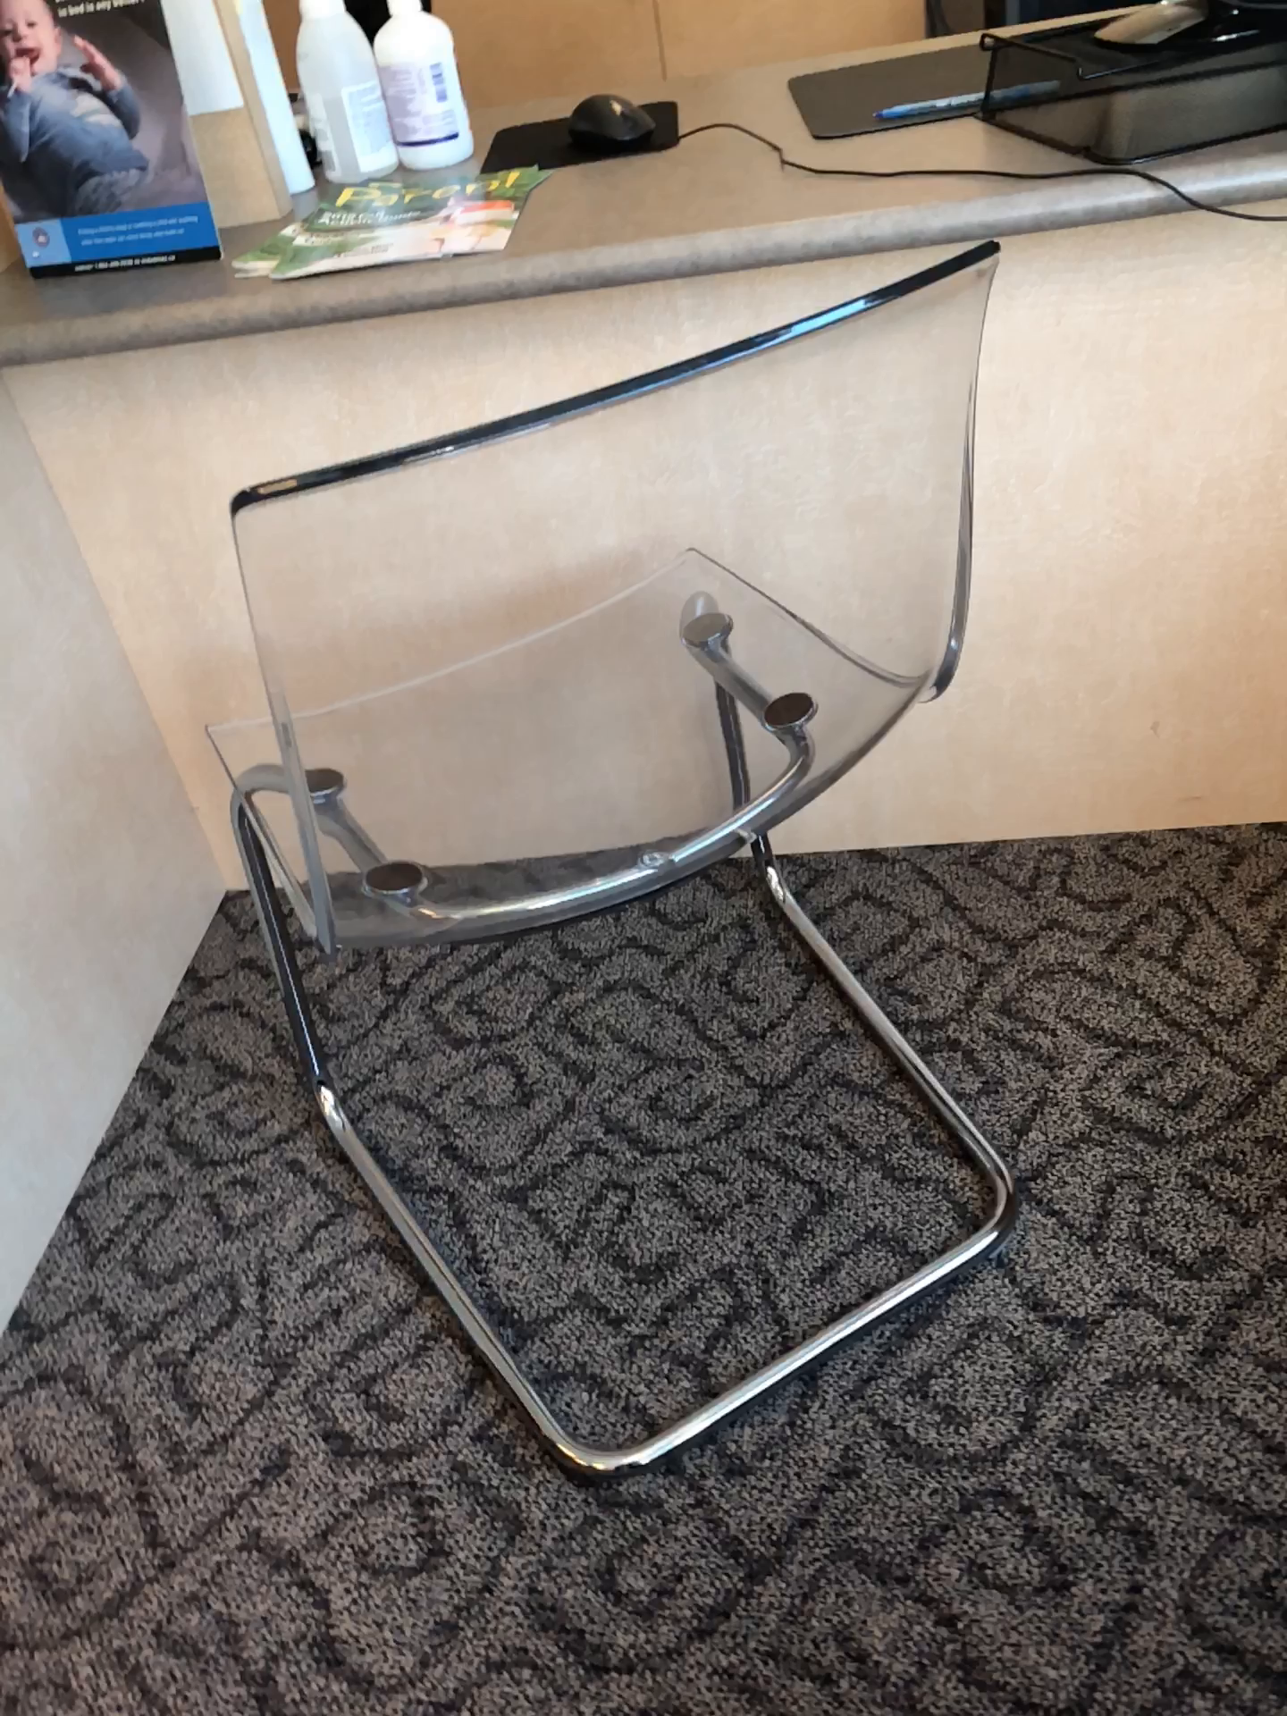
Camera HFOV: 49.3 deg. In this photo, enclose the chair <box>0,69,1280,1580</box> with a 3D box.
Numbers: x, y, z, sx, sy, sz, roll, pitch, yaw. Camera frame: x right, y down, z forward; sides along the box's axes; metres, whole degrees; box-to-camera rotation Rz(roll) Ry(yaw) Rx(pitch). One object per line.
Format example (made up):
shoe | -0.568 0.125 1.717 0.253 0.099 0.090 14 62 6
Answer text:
chair | -0.033 -0.074 1.092 0.600 0.804 0.644 -25 39 -18
